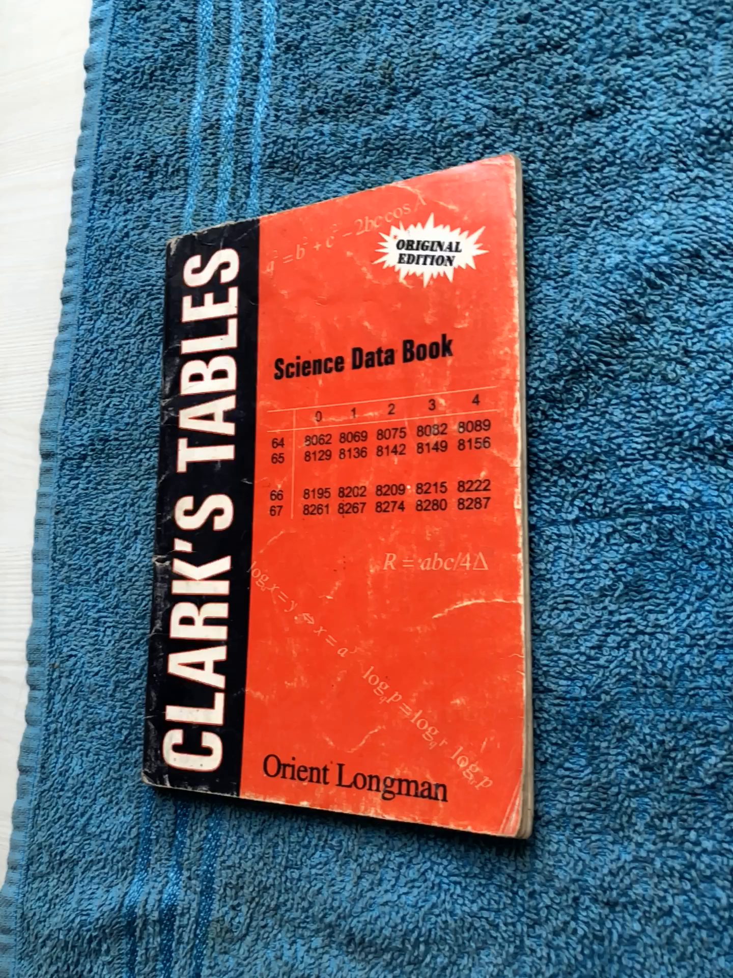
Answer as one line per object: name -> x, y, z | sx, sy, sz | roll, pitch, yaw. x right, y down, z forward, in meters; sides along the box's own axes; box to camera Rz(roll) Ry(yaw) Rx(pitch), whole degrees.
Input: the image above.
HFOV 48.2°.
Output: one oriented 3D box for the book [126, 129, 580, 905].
book -> -0.006, 0.006, 0.229 | 0.120, 0.030, 0.180 | -3, 81, 27
